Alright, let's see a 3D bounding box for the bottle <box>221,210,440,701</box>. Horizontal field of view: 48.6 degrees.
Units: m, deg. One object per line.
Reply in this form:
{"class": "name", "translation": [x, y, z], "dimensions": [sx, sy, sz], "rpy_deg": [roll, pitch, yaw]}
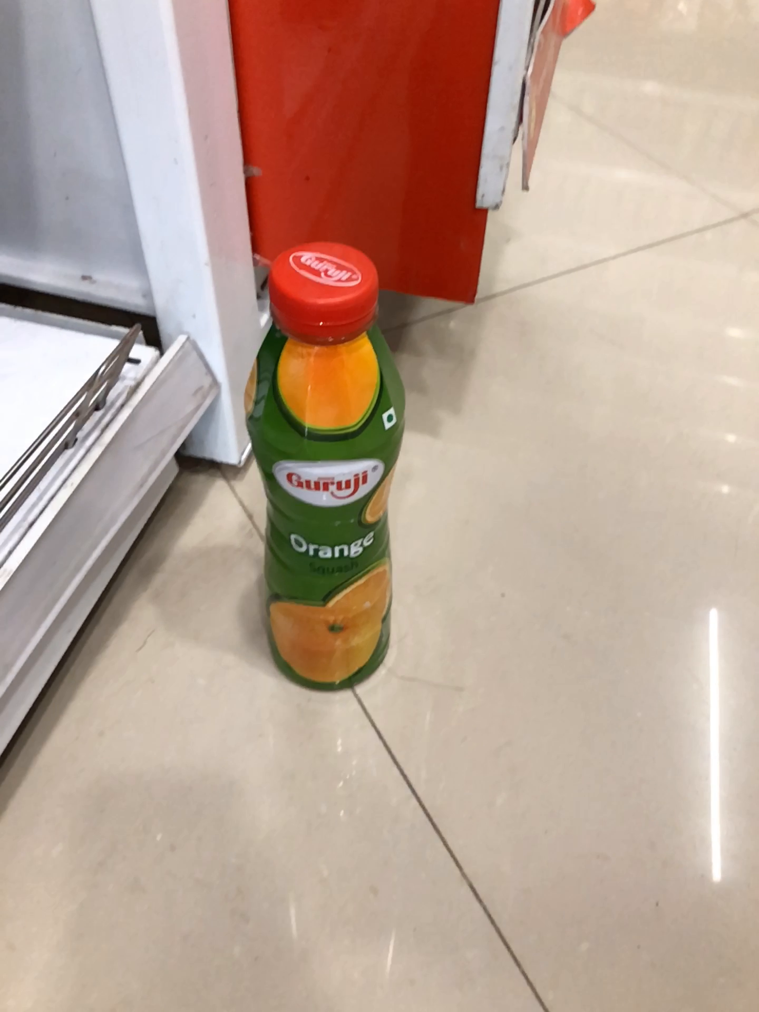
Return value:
{"class": "bottle", "translation": [-0.022, -0.005, 0.382], "dimensions": [0.070, 0.238, 0.070], "rpy_deg": [1, 49, -1]}
